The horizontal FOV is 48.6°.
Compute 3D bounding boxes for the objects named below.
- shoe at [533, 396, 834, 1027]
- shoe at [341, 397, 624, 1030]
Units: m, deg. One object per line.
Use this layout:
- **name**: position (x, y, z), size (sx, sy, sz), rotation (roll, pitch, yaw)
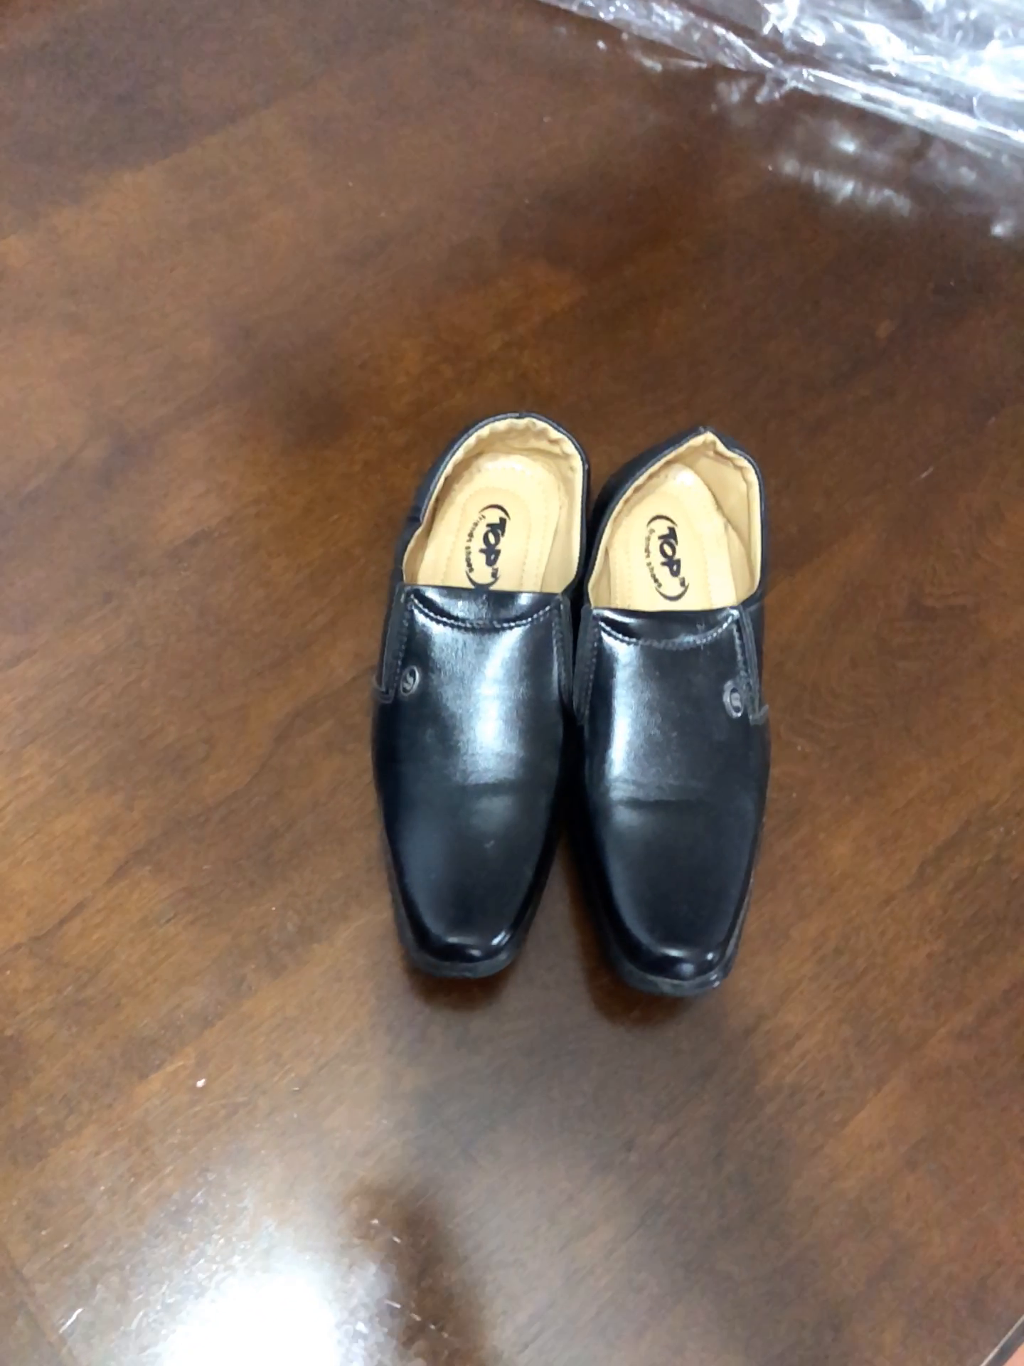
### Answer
- **shoe**: position (0.061, 0.010, 0.454), size (0.090, 0.090, 0.230), rotation (4, 65, -3)
- **shoe**: position (-0.007, 0.009, 0.446), size (0.090, 0.080, 0.230), rotation (4, 65, -3)
